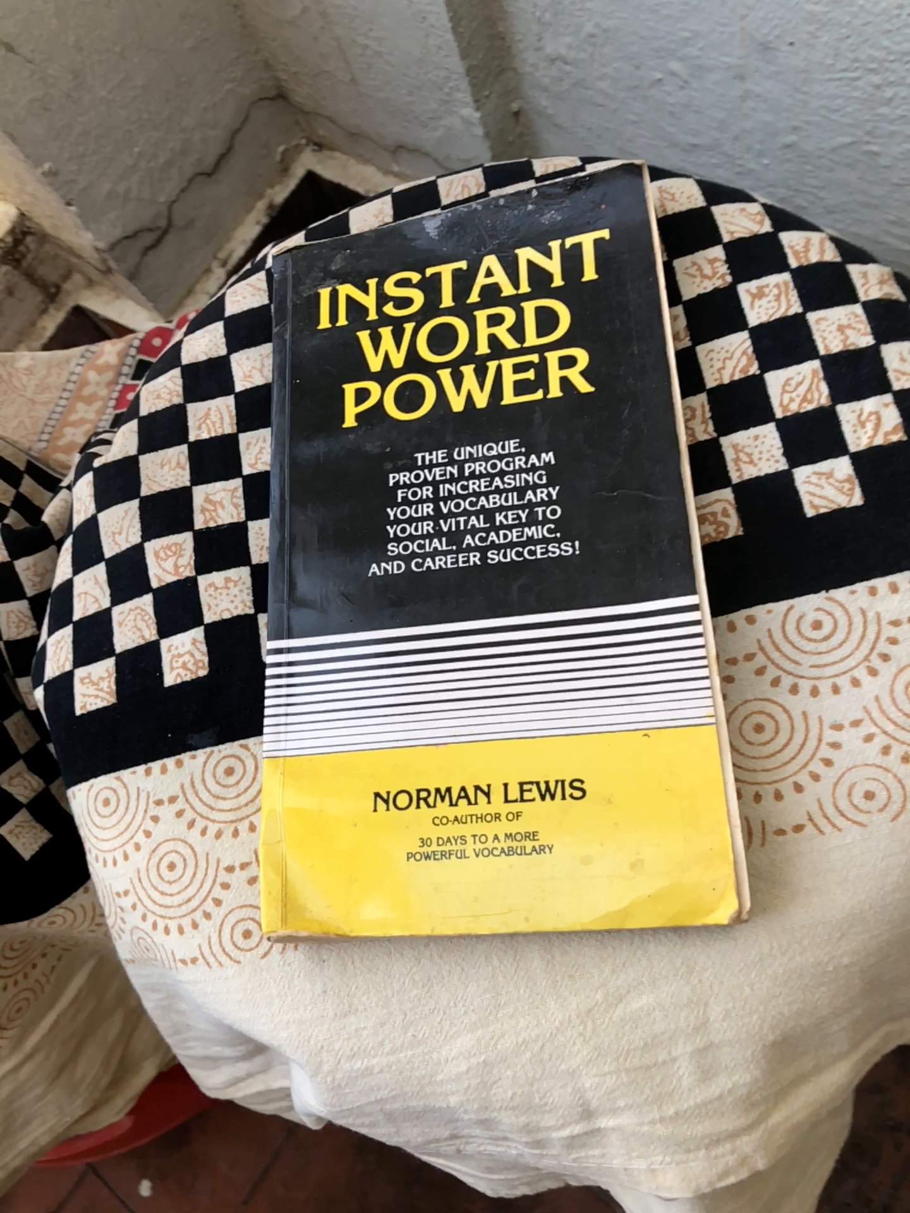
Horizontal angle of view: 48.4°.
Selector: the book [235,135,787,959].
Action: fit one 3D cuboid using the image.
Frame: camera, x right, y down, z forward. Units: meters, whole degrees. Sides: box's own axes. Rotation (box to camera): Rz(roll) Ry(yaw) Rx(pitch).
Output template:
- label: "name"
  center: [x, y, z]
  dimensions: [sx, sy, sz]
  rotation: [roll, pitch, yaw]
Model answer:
- label: "book"
  center: [0.014, -0.035, 0.372]
  dimensions: [0.160, 0.040, 0.300]
  rotation: [-8, 63, 13]
